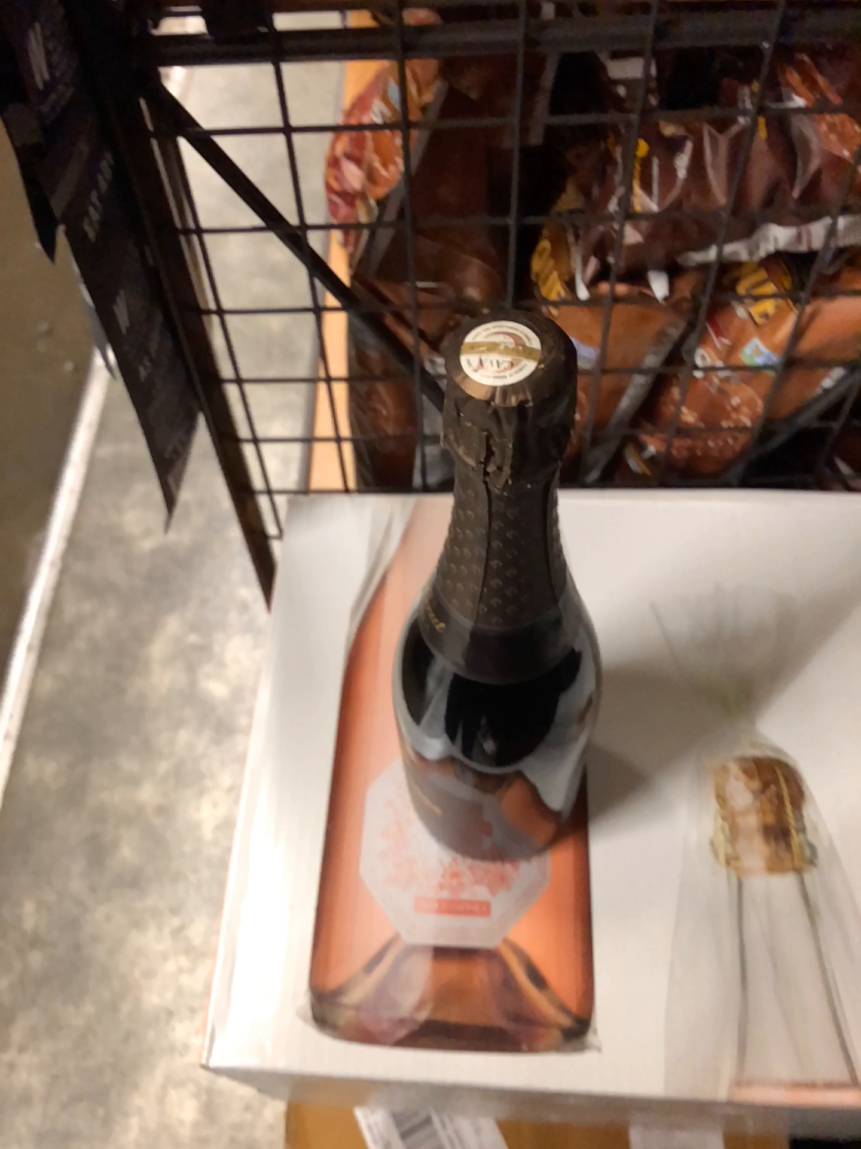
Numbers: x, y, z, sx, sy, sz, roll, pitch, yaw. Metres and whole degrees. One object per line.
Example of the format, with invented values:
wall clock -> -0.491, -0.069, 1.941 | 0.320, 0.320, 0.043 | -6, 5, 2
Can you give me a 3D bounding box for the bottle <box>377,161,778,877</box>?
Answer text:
bottle -> 0.036, 0.019, 0.370 | 0.084, 0.326, 0.090 | -1, 56, 1
